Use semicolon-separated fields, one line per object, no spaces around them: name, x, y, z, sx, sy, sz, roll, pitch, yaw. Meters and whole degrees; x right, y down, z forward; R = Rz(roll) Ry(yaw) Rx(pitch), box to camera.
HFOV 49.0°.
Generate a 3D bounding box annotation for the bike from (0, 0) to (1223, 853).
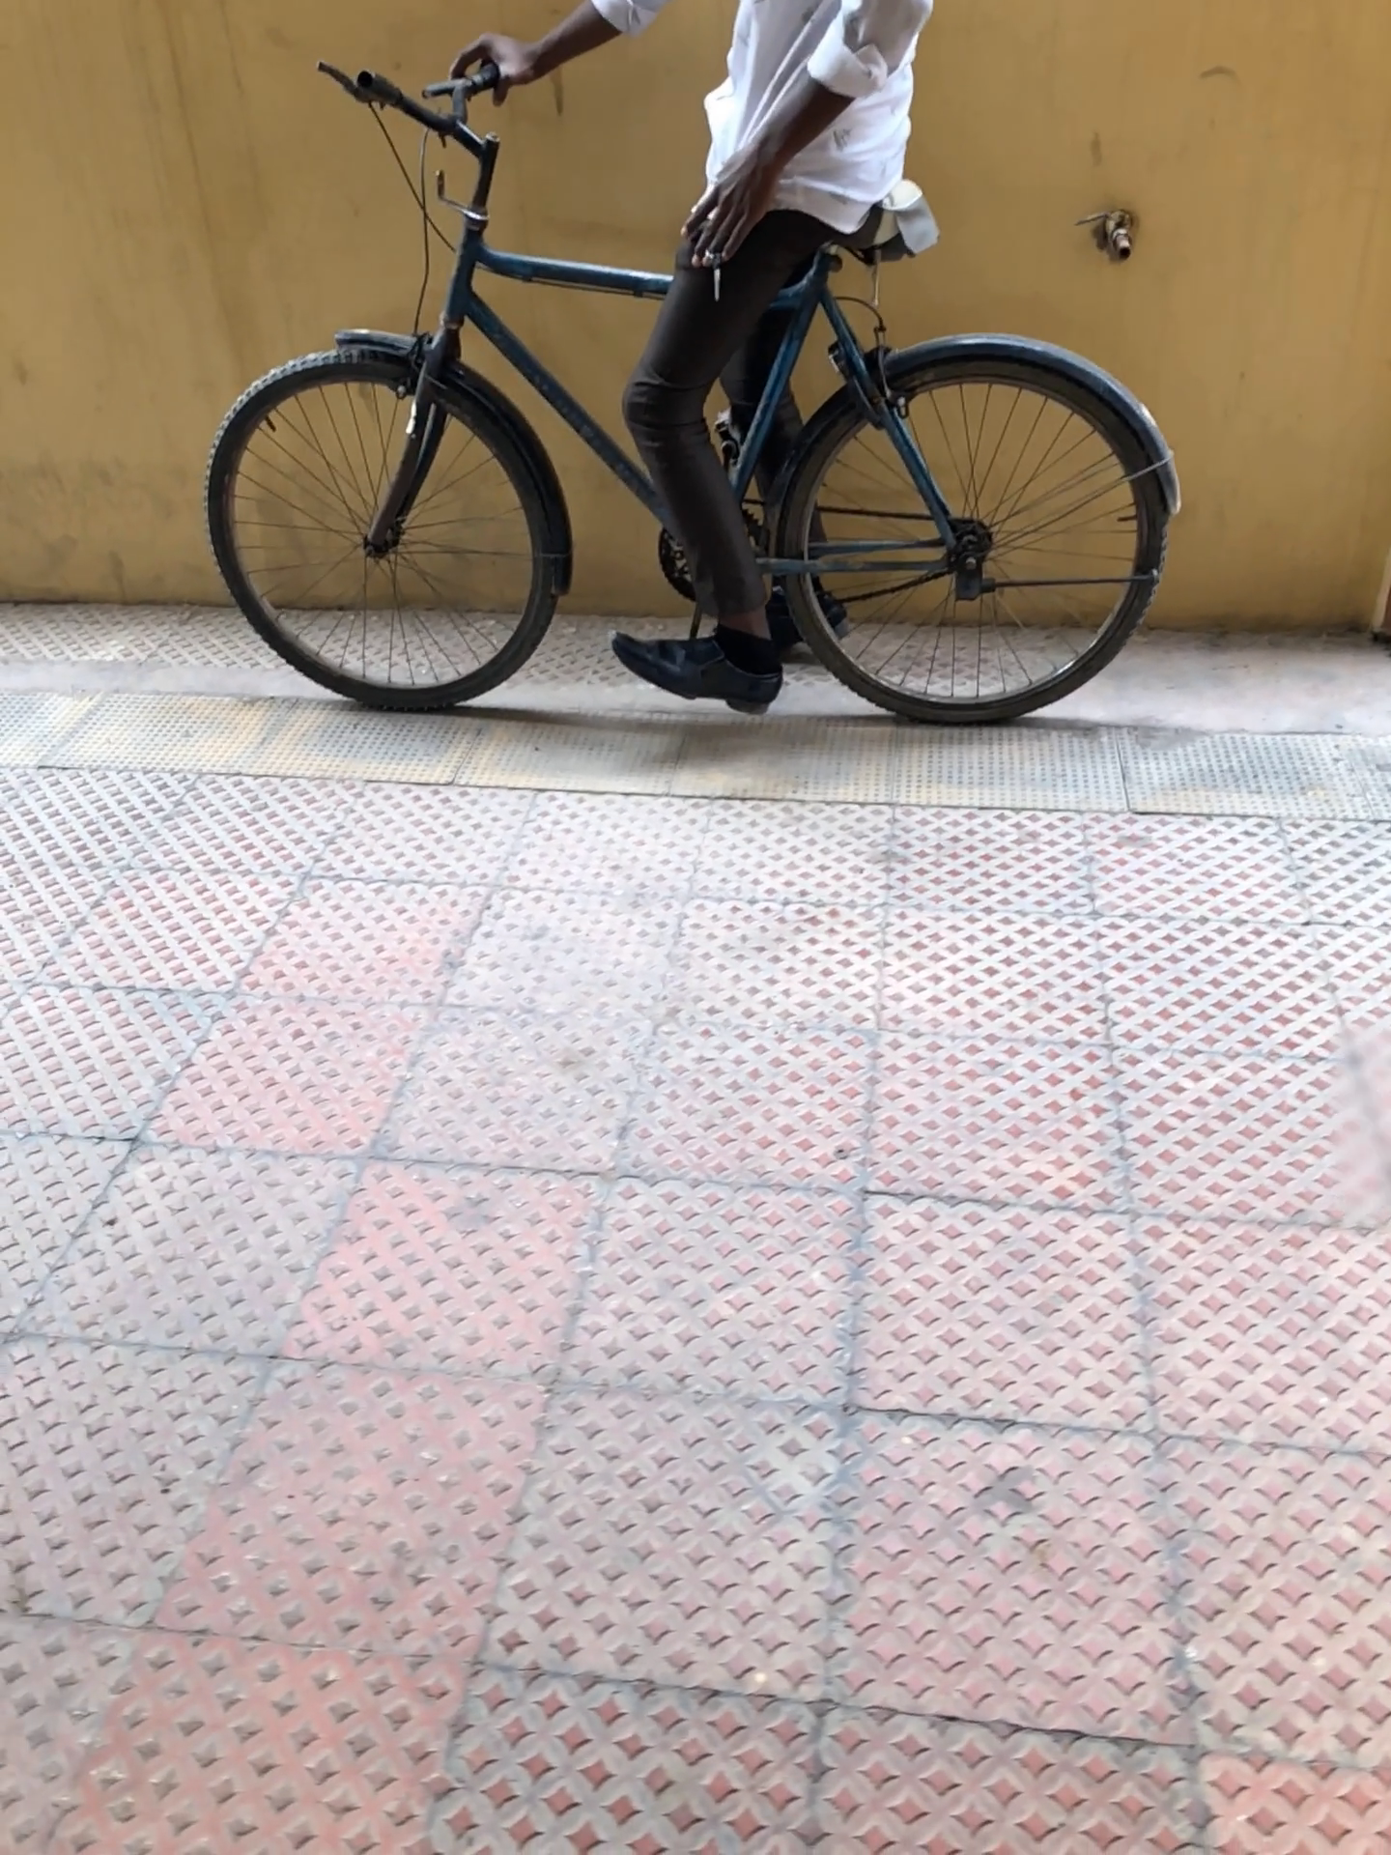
bike;-0.103;-0.774;2.295;1.571;1.024;0.592;5;36;7
